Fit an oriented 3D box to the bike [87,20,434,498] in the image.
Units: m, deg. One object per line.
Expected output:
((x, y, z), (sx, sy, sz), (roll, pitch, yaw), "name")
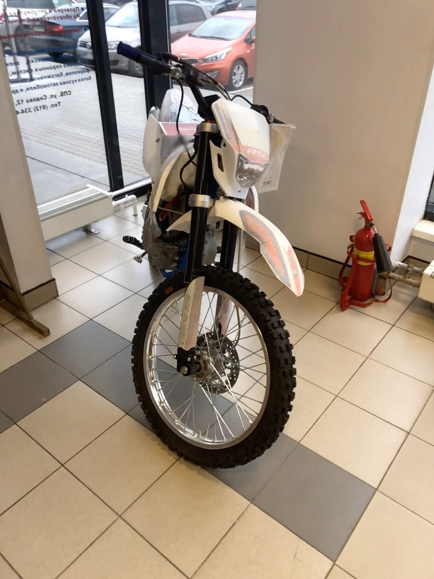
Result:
((0.045, -0.378, 2.069), (0.842, 1.220, 1.854), (-9, 35, -15), "bike")
